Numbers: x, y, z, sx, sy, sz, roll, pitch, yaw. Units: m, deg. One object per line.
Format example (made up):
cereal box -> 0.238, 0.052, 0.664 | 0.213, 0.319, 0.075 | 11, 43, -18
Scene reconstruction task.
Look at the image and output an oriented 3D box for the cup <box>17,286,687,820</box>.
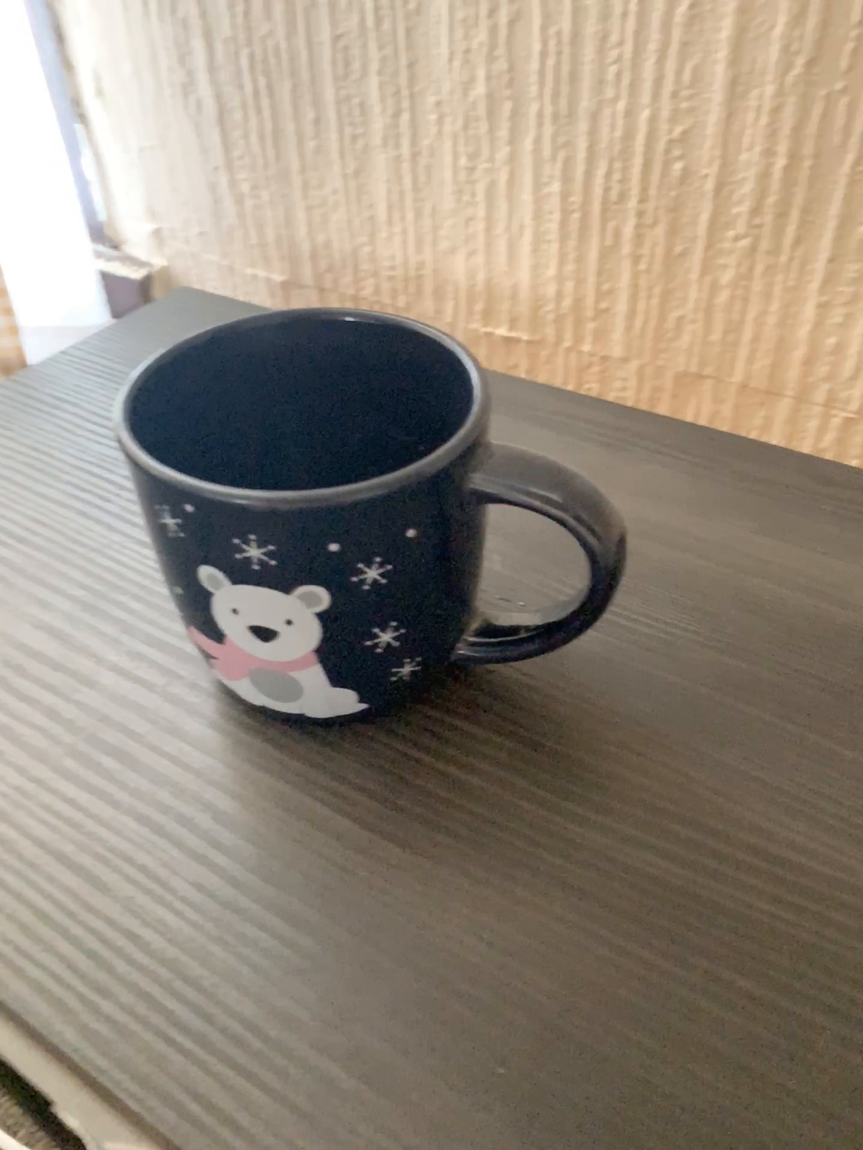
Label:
cup -> -0.011, -0.015, 0.234 | 0.130, 0.069, 0.101 | 12, 43, 16
